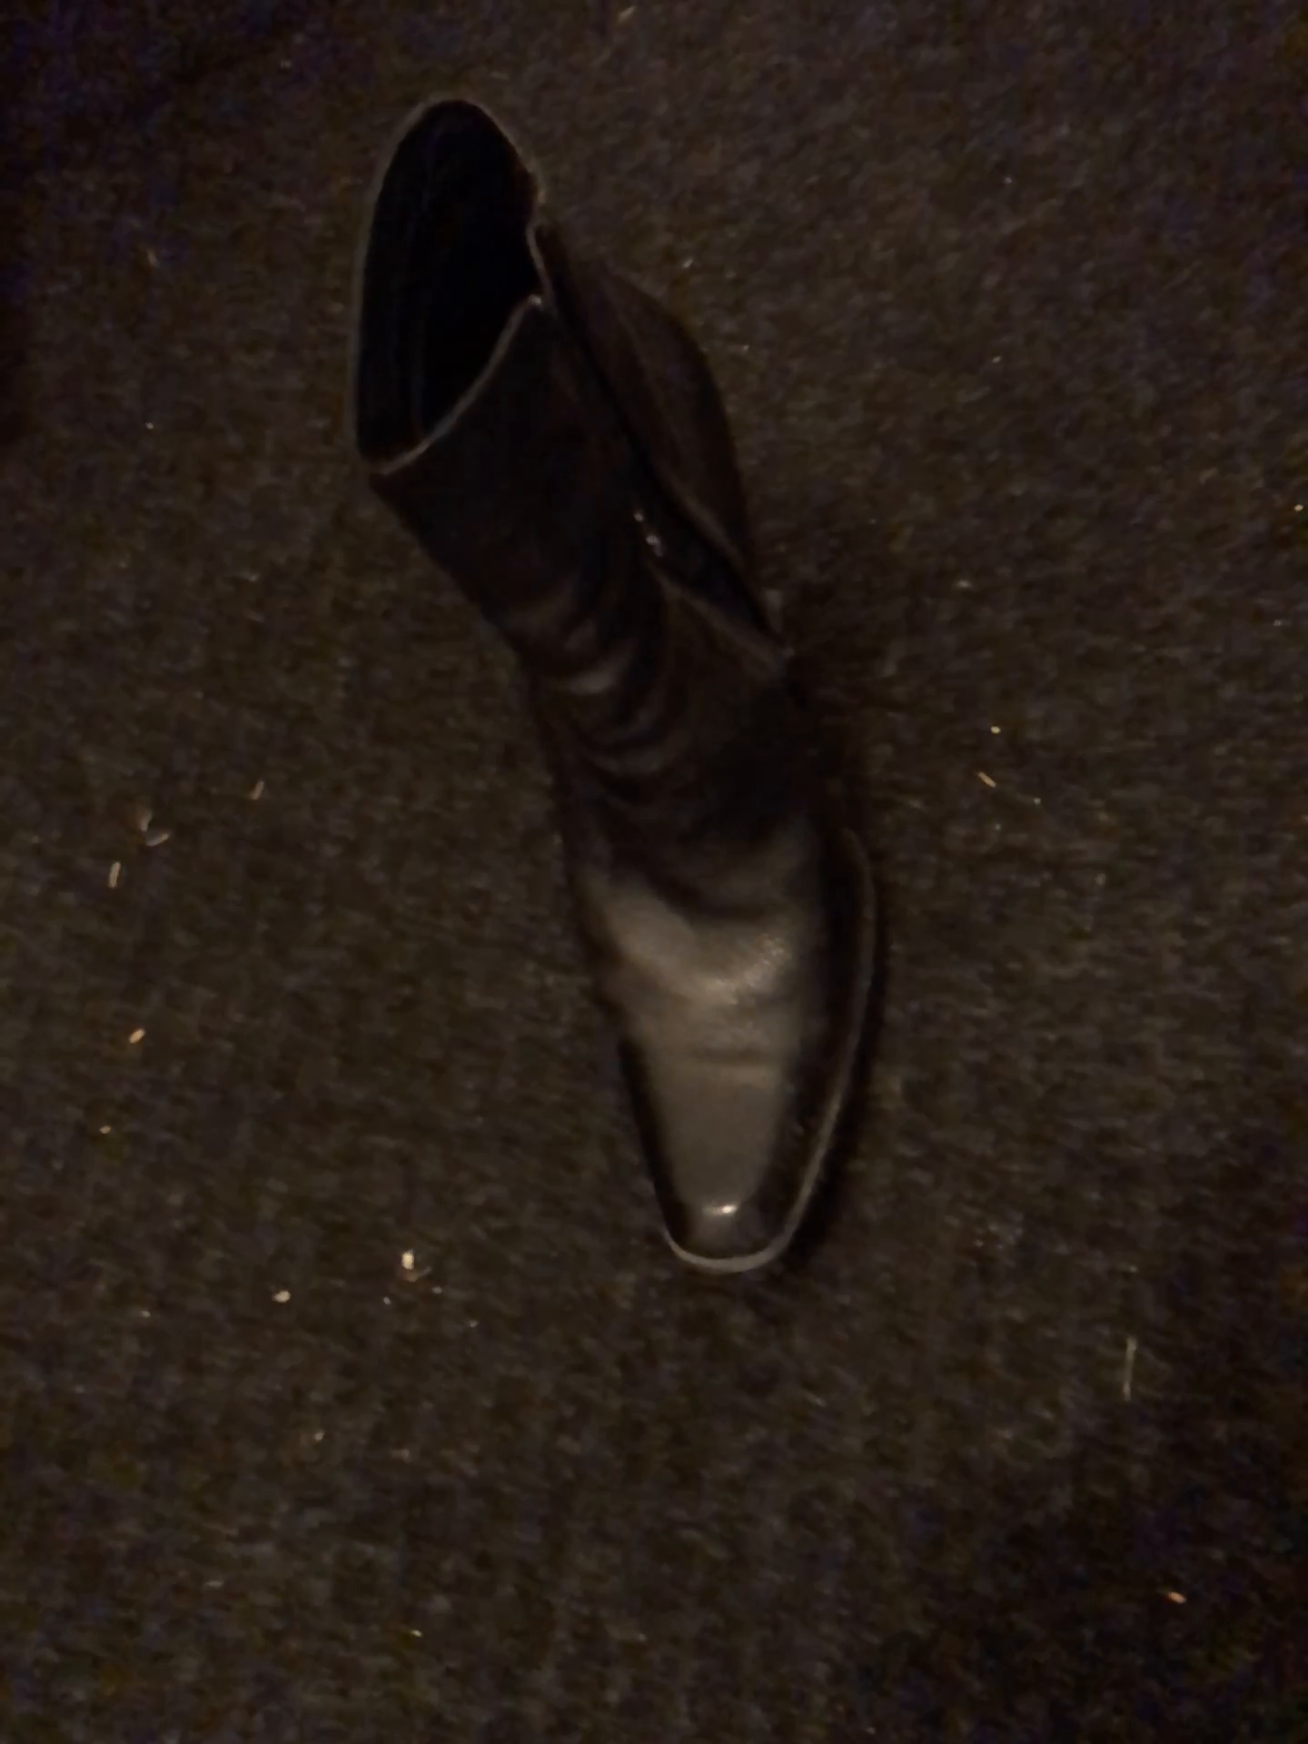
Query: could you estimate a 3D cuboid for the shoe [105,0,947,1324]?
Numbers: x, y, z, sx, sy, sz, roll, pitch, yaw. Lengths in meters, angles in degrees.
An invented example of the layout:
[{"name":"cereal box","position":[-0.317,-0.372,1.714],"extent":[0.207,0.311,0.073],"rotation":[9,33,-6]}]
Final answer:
[{"name":"shoe","position":[-0.003,-0.038,0.341],"extent":[0.090,0.209,0.241],"rotation":[-9,62,17]}]
